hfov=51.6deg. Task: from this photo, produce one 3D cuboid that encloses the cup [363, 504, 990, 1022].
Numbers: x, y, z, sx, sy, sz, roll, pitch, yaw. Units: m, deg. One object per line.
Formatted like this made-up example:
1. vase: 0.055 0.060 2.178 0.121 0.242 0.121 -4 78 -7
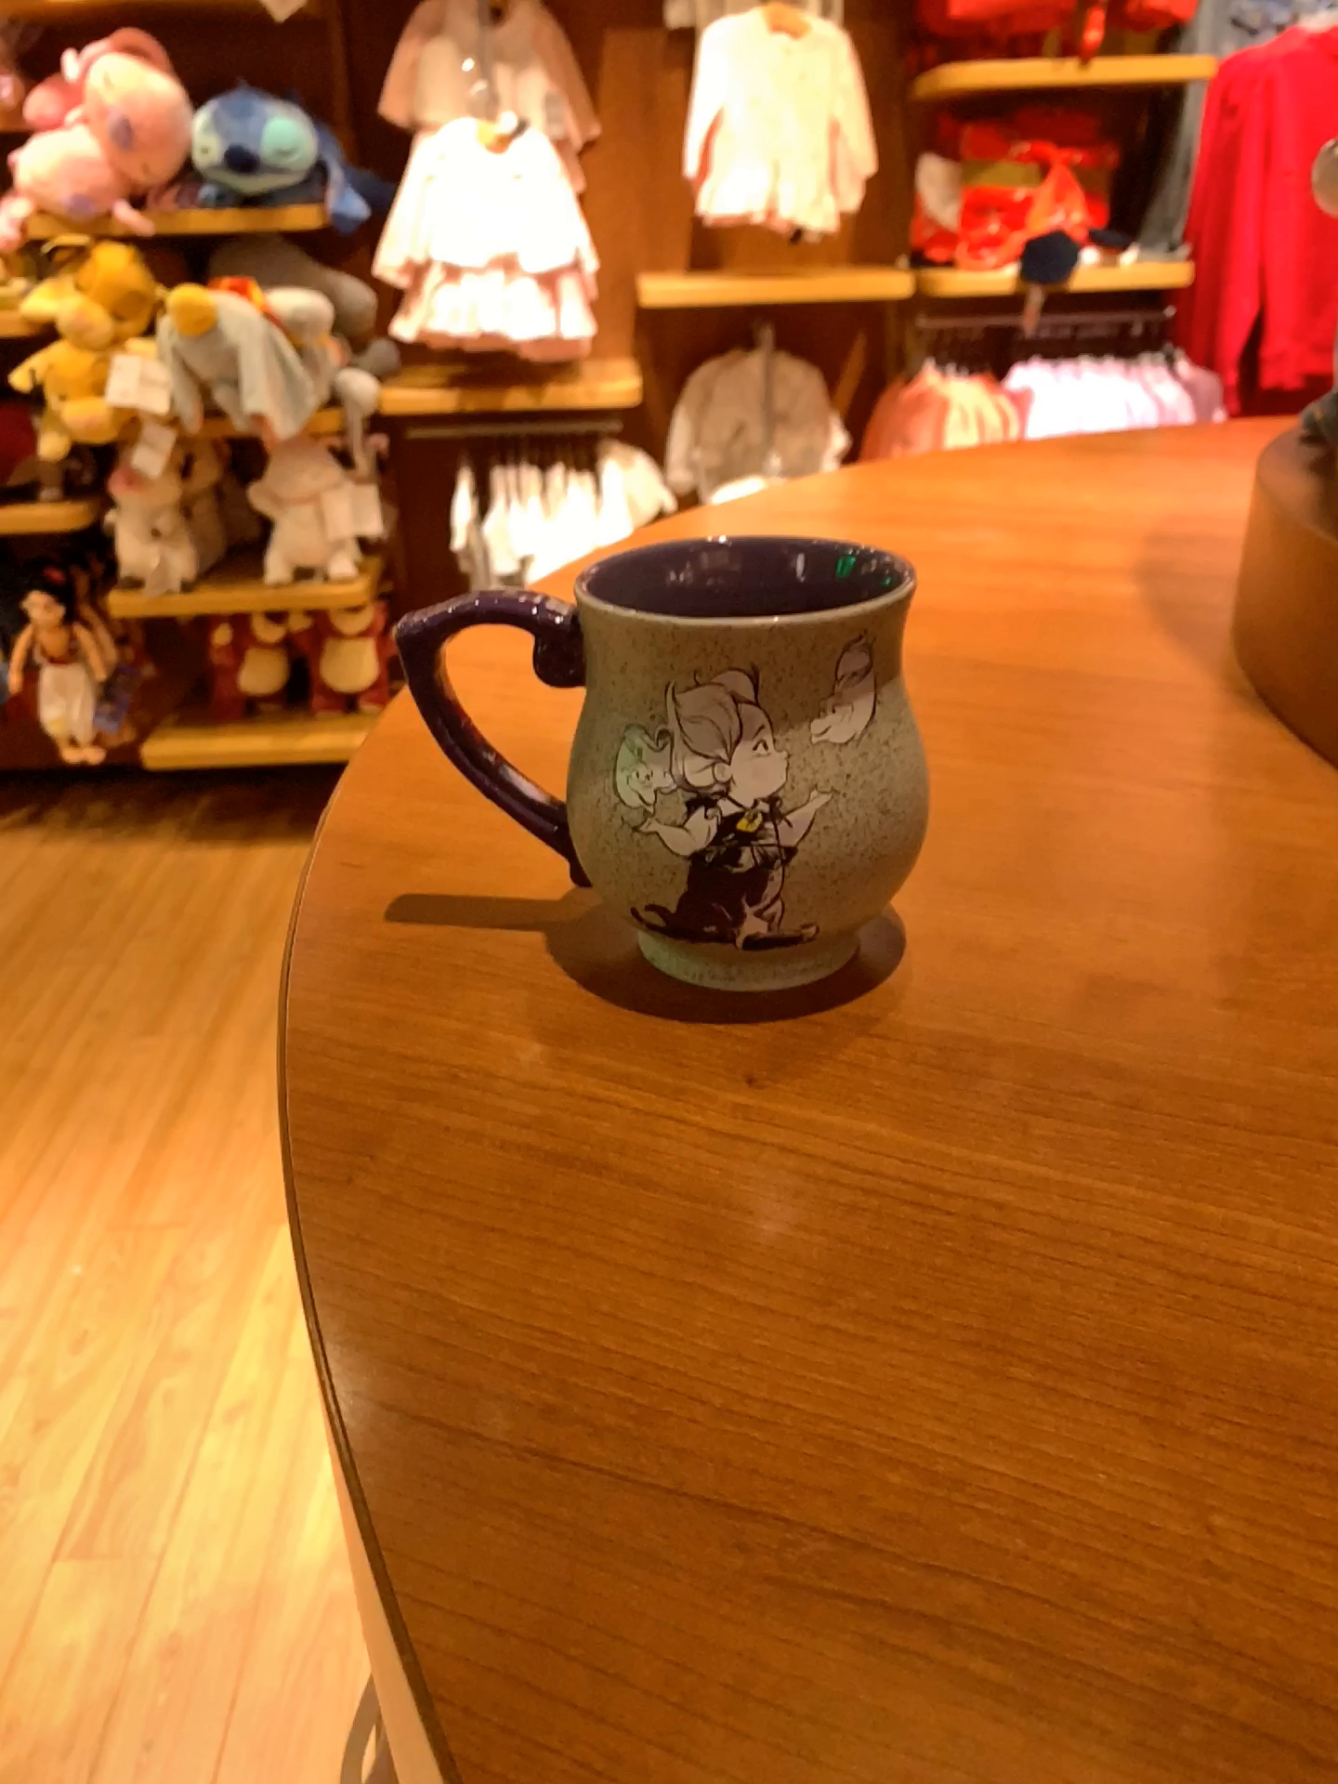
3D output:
1. cup: 0.011 -0.045 0.388 0.140 0.099 0.115 6 28 15
